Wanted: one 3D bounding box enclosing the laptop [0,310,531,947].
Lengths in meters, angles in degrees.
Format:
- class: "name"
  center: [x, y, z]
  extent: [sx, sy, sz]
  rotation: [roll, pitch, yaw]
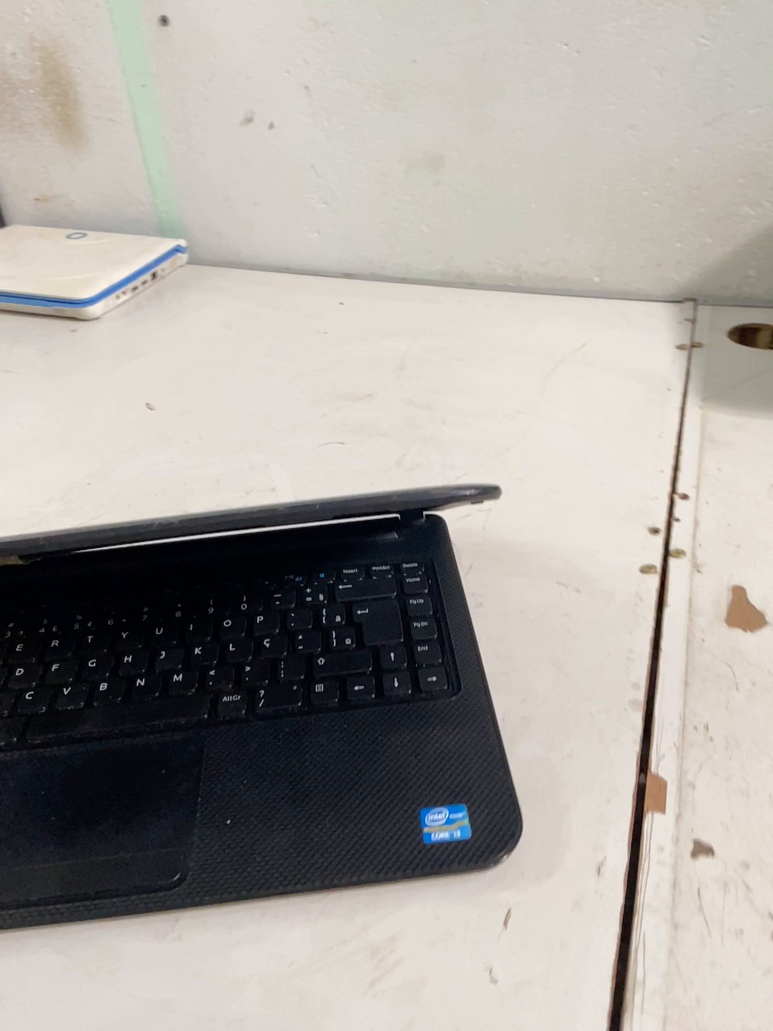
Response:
- class: "laptop"
  center: [-0.125, 0.030, 0.375]
  extent: [0.330, 0.141, 0.231]
  rotation: [-6, 37, -2]
